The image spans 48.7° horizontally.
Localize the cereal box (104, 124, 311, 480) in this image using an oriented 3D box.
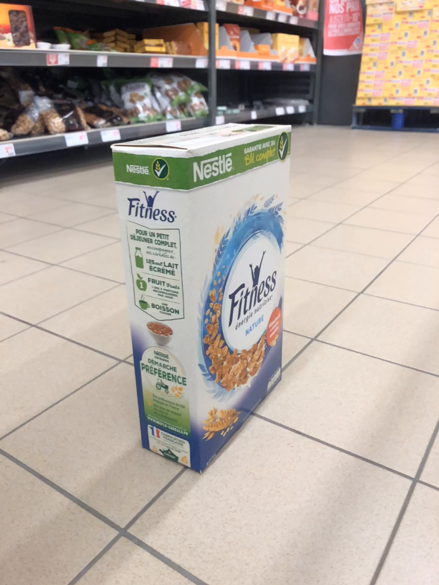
[{"bbox_3d":[0.004,-0.007,0.501,0.090,0.298,0.211,13,26,29],"label":"cereal box"}]
